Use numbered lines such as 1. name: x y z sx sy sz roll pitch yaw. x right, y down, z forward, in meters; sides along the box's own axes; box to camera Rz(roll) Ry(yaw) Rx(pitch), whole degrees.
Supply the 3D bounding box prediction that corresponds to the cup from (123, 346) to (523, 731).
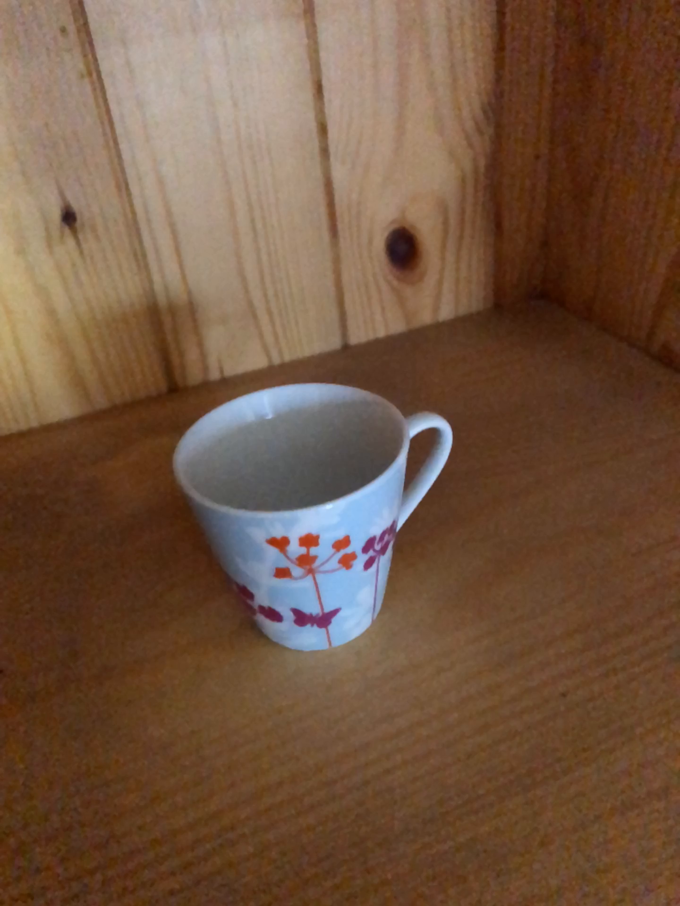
1. cup: -0.005 0.017 0.209 0.080 0.050 0.070 -21 36 -21
